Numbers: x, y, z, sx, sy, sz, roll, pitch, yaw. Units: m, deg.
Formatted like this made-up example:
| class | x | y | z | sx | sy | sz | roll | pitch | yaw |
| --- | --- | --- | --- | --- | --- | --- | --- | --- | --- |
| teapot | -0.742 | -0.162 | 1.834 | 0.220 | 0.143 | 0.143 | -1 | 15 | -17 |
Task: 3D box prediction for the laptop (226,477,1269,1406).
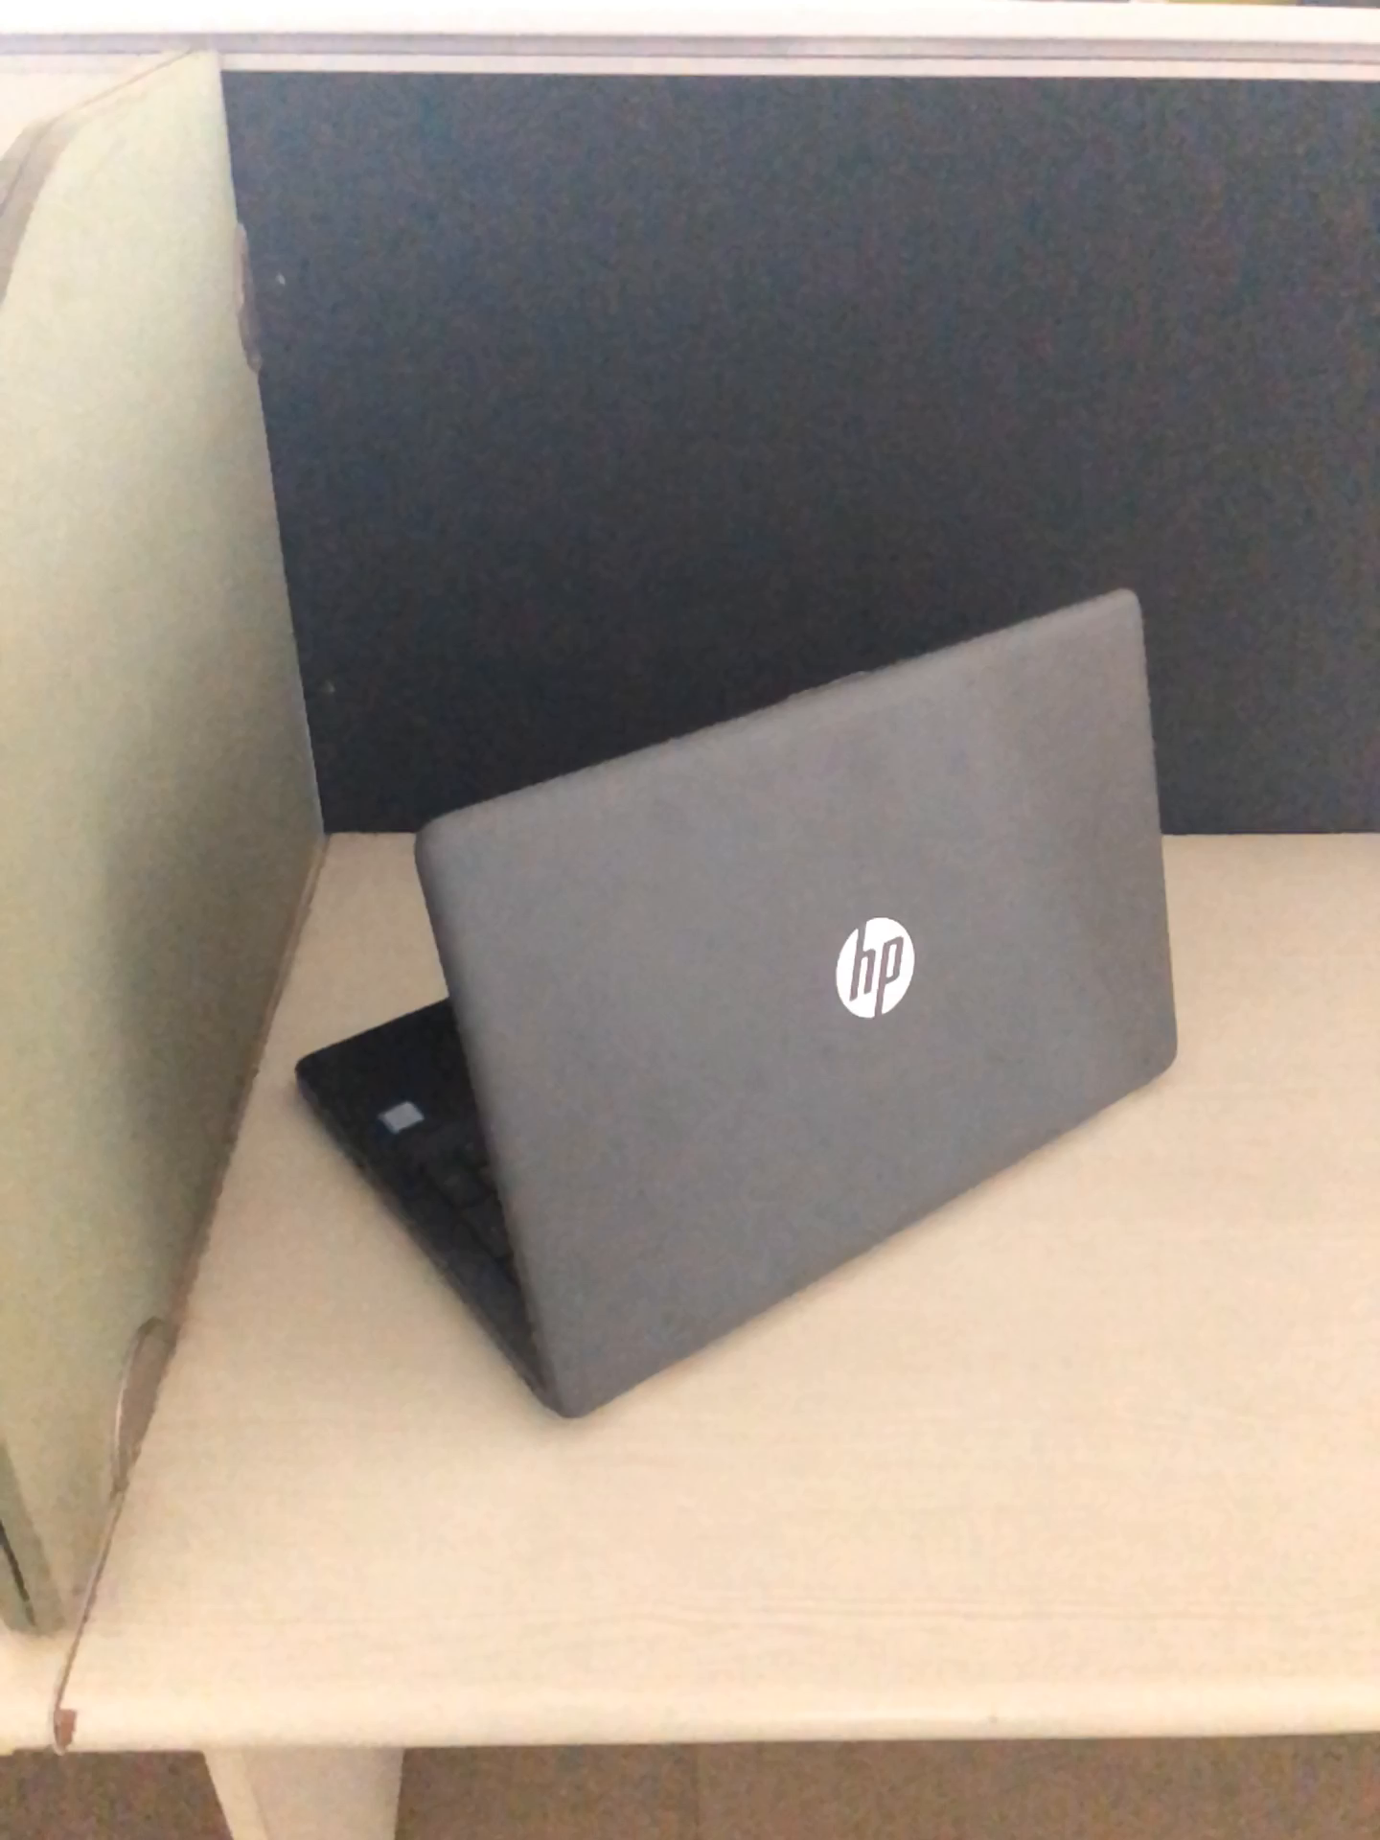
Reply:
| class | x | y | z | sx | sy | sz | roll | pitch | yaw |
| --- | --- | --- | --- | --- | --- | --- | --- | --- | --- |
| laptop | 0.026 | -0.021 | 0.688 | 0.360 | 0.215 | 0.239 | -23 | 42 | -28 |
